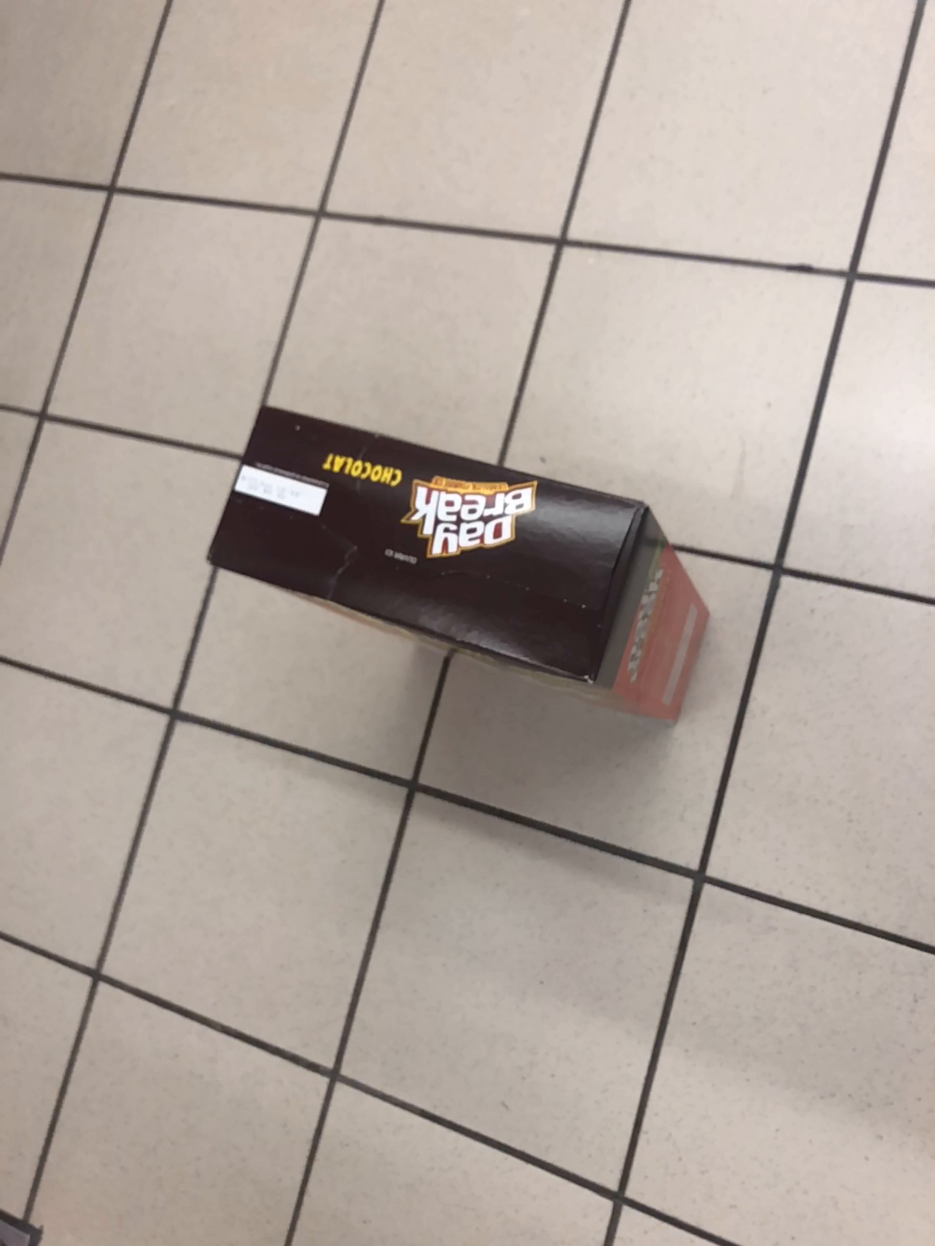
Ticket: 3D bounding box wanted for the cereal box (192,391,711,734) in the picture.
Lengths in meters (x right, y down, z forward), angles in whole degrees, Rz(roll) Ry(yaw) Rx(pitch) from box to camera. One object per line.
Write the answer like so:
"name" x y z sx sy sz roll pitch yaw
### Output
"cereal box" 0.016 -0.019 0.588 0.200 0.280 0.090 17 87 19
